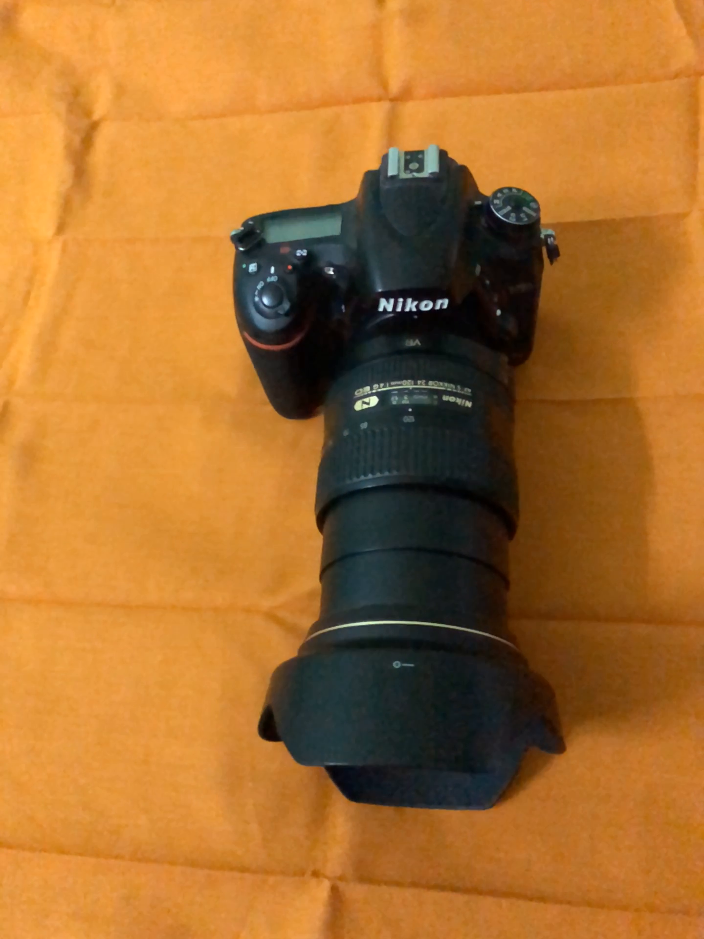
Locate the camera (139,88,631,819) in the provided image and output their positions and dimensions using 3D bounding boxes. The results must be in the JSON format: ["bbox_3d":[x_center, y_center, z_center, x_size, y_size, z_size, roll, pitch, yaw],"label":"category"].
[{"bbox_3d":[0.018,-0.007,0.318,0.131,0.120,0.264,-2,64,8],"label":"camera"}]
